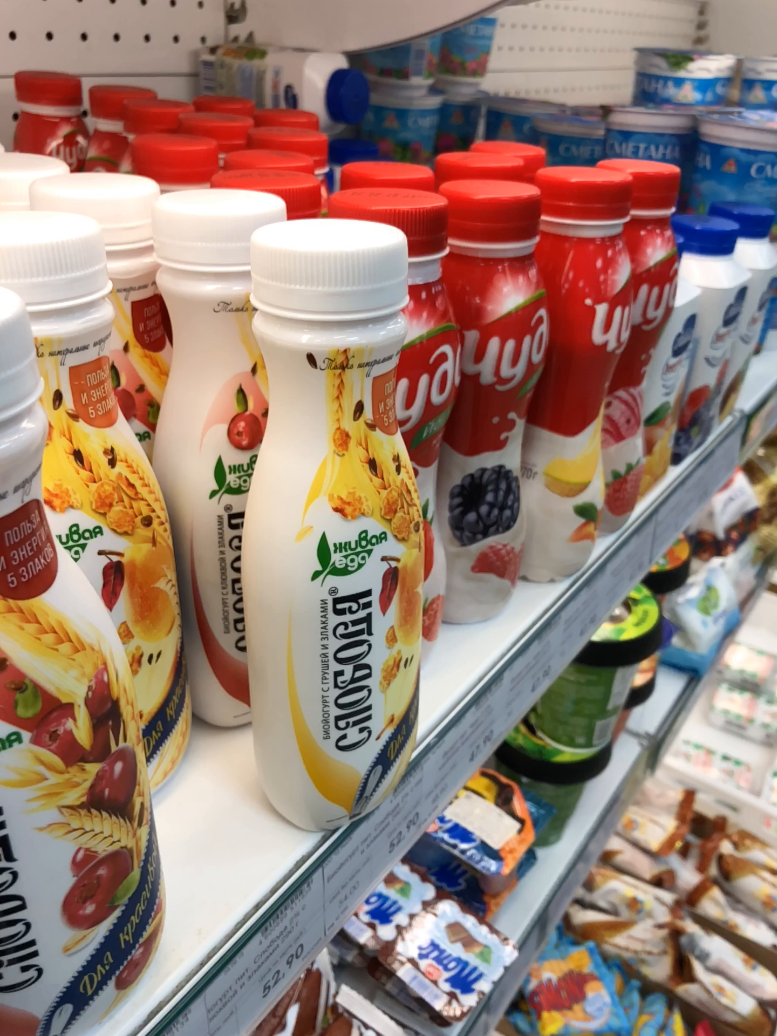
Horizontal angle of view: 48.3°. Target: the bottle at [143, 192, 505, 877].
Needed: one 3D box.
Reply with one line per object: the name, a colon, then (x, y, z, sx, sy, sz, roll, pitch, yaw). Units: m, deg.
bottle: (-0.020, 0.008, 0.266, 0.060, 0.189, 0.070, 24, 35, 31)
